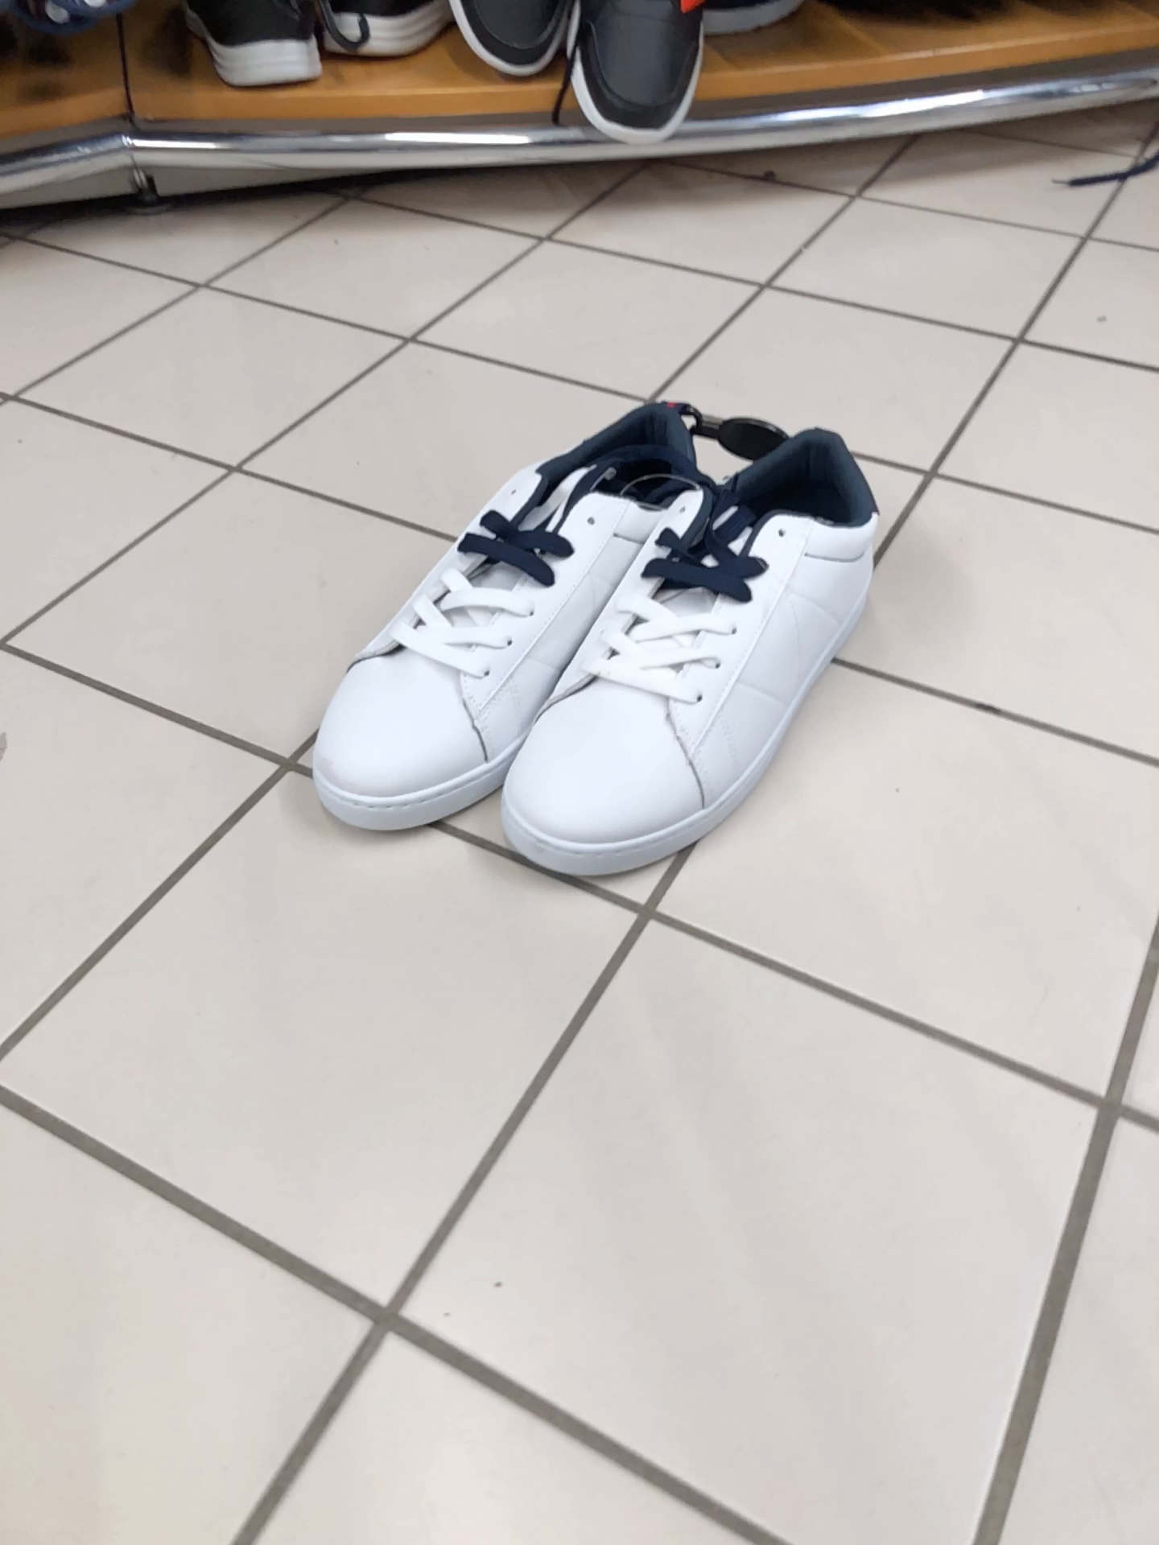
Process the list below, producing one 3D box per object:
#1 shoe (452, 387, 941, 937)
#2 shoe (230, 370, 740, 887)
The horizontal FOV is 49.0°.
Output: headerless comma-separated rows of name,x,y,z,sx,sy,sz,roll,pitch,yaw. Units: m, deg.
shoe,0.068,-0.070,0.625,0.100,0.099,0.292,23,50,23
shoe,-0.032,-0.089,0.656,0.100,0.099,0.292,23,50,23
